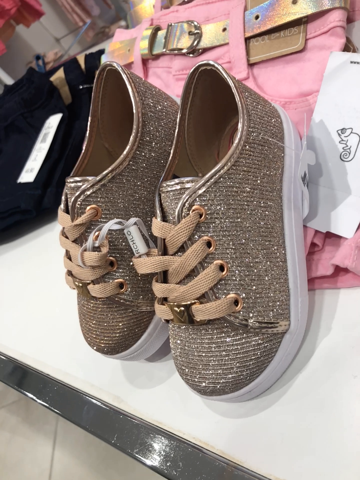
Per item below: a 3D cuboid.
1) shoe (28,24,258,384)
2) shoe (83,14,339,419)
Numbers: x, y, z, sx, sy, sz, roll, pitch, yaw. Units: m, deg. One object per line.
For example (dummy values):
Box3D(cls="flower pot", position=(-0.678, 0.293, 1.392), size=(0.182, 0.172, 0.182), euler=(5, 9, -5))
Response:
Box3D(cls="shoe", position=(-0.018, -0.015, 0.237), size=(0.070, 0.080, 0.170), euler=(4, 81, 45))
Box3D(cls="shoe", position=(0.027, -0.008, 0.211), size=(0.080, 0.080, 0.170), euler=(-8, 63, 39))
